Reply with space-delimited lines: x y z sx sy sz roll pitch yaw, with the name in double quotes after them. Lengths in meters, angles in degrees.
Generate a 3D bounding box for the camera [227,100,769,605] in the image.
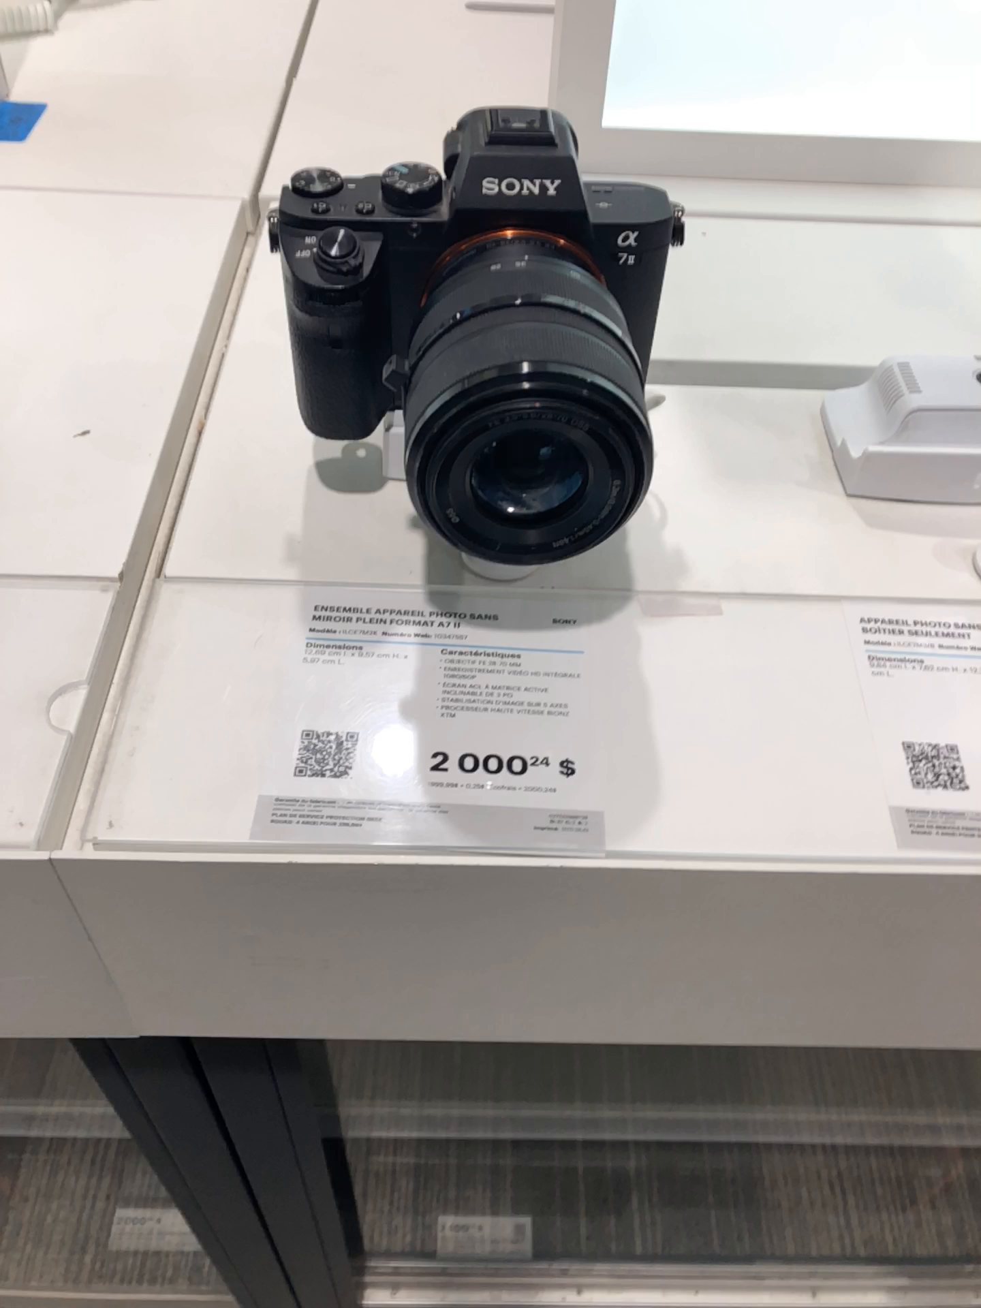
-0.002 -0.098 0.347 0.134 0.099 0.131 0 48 -3 "camera"
